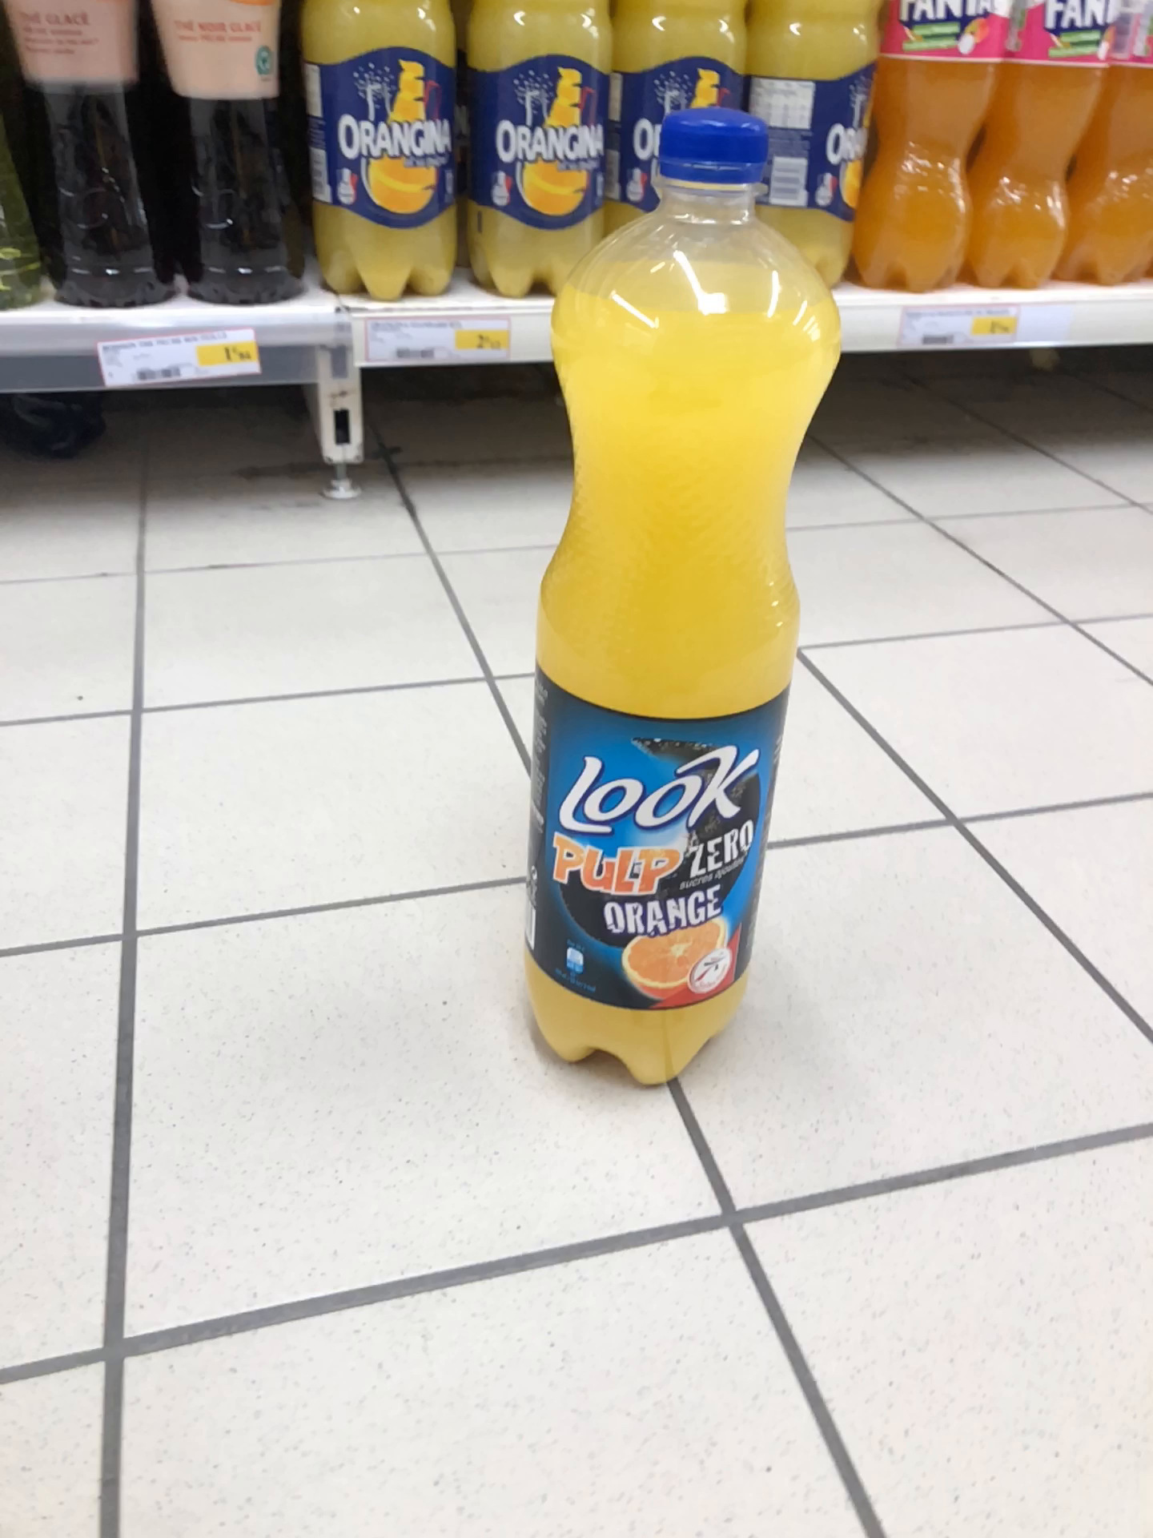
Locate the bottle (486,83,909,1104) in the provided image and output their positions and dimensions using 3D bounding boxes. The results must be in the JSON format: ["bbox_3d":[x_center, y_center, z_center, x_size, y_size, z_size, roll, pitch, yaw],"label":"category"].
[{"bbox_3d":[0.027,-0.045,0.426,0.100,0.318,0.101,2,30,-1],"label":"bottle"}]
